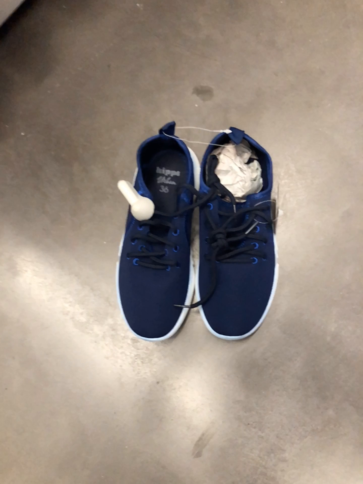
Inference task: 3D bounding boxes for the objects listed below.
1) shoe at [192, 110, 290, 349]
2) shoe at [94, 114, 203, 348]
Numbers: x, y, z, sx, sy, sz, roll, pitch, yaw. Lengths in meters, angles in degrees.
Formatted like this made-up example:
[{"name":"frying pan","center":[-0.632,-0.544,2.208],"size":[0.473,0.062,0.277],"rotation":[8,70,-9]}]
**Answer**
[{"name":"shoe","center":[0.065,-0.011,0.440],"size":[0.090,0.090,0.240],"rotation":[2,78,6]},{"name":"shoe","center":[-0.028,-0.010,0.449],"size":[0.090,0.090,0.240],"rotation":[2,78,6]}]
